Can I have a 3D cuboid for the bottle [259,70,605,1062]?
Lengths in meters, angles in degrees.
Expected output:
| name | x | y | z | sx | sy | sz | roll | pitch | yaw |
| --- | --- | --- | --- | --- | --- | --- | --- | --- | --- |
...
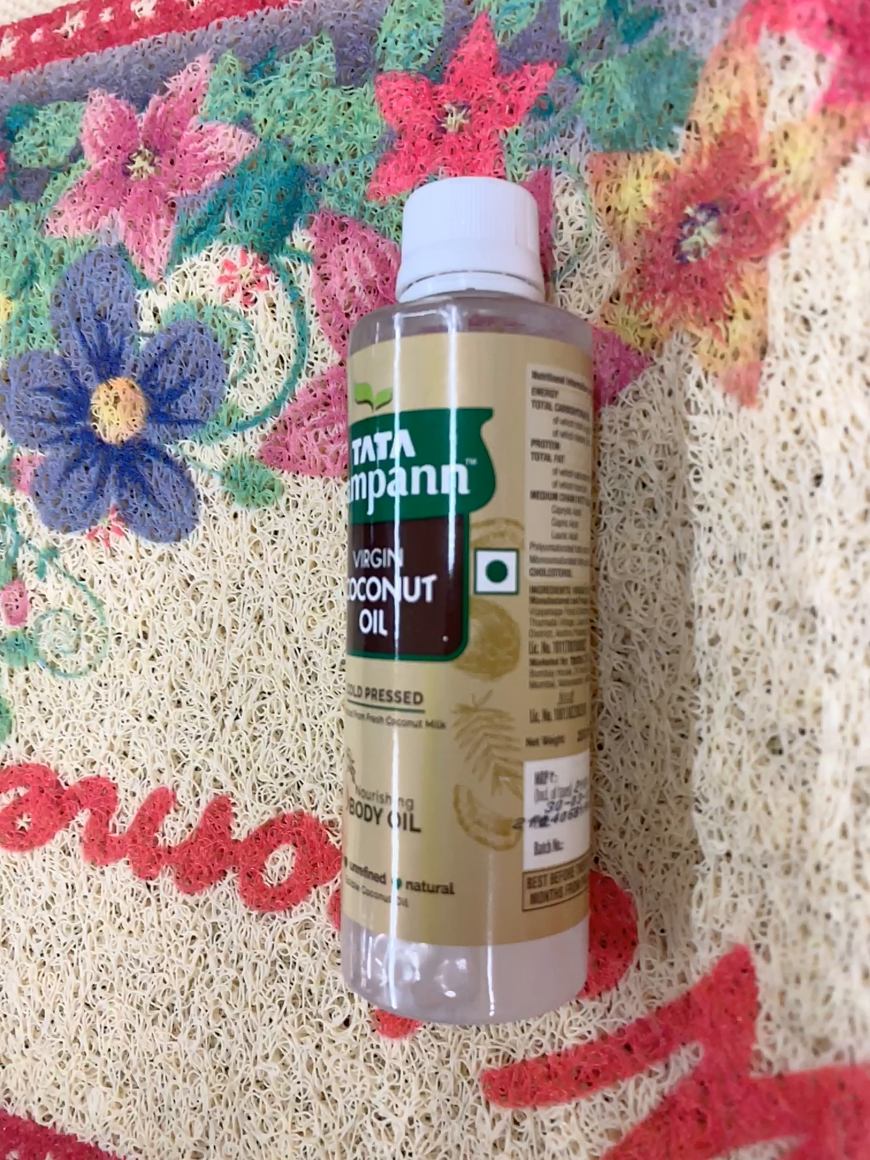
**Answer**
| name | x | y | z | sx | sy | sz | roll | pitch | yaw |
| --- | --- | --- | --- | --- | --- | --- | --- | --- | --- |
| bottle | -0.001 | -0.002 | 0.154 | 0.050 | 0.030 | 0.140 | 1 | 90 | 40 |
